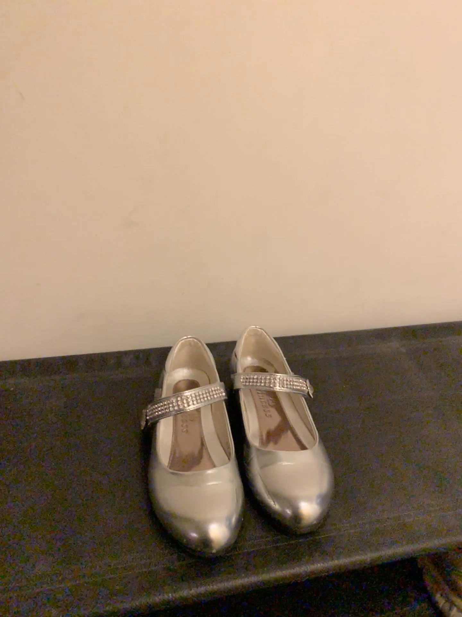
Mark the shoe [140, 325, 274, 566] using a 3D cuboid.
[{"bbox_3d":[-0.029,0.106,0.423,0.090,0.089,0.182,-6,32,-8],"label":"shoe"}]

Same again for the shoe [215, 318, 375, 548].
[{"bbox_3d":[0.045,0.099,0.435,0.090,0.089,0.182,-6,32,-8],"label":"shoe"}]
